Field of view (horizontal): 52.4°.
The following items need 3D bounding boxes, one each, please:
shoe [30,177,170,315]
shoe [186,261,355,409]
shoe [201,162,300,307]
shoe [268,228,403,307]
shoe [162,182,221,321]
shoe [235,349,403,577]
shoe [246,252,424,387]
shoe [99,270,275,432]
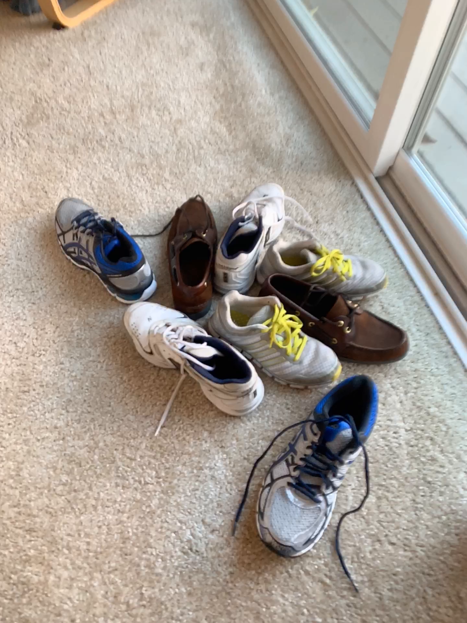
[{"bbox_3d":[-0.256,-0.132,0.911,0.110,0.090,0.271,-38,64,-24],"label":"shoe"},{"bbox_3d":[0.052,0.034,0.756,0.240,0.090,0.100,30,60,16],"label":"shoe"},{"bbox_3d":[0.037,-0.159,0.940,0.100,0.110,0.271,19,56,10],"label":"shoe"},{"bbox_3d":[0.185,-0.081,0.878,0.230,0.060,0.100,8,56,2],"label":"shoe"},{"bbox_3d":[-0.087,-0.126,0.956,0.100,0.110,0.271,-3,55,-5],"label":"shoe"},{"bbox_3d":[0.128,0.216,0.704,0.110,0.110,0.291,29,61,16],"label":"shoe"},{"bbox_3d":[0.172,0.010,0.837,0.280,0.080,0.100,27,59,14],"label":"shoe"},{"bbox_3d":[-0.078,0.061,0.780,0.281,0.110,0.090,32,61,20],"label":"shoe"}]
